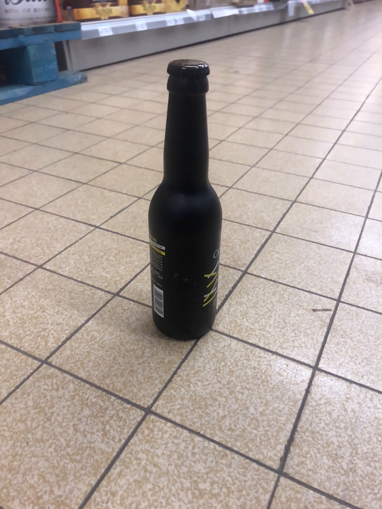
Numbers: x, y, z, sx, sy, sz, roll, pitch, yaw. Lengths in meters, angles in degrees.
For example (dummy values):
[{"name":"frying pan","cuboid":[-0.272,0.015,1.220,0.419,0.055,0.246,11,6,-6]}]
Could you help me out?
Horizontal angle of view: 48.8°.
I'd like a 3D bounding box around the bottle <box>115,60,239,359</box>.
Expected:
[{"name":"bottle","cuboid":[-0.013,-0.025,0.325,0.070,0.219,0.070,1,33,-1]}]
